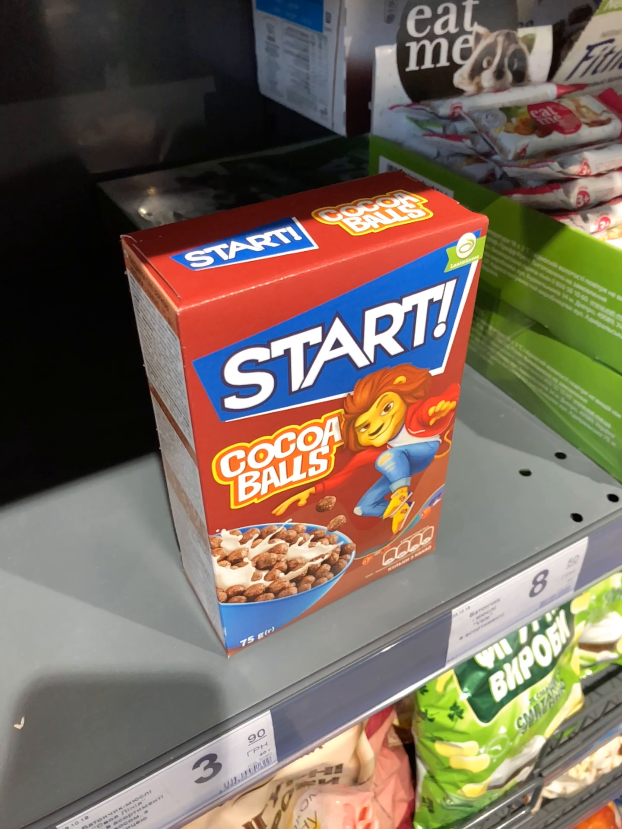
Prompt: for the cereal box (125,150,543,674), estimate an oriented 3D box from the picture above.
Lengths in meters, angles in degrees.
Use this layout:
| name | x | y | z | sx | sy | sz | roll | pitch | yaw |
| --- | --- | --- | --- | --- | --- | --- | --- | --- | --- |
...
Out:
| name | x | y | z | sx | sy | sz | roll | pitch | yaw |
| --- | --- | --- | --- | --- | --- | --- | --- | --- | --- |
| cereal box | 0.007 | 0.004 | 0.263 | 0.110 | 0.169 | 0.060 | -21 | 46 | -24 |
